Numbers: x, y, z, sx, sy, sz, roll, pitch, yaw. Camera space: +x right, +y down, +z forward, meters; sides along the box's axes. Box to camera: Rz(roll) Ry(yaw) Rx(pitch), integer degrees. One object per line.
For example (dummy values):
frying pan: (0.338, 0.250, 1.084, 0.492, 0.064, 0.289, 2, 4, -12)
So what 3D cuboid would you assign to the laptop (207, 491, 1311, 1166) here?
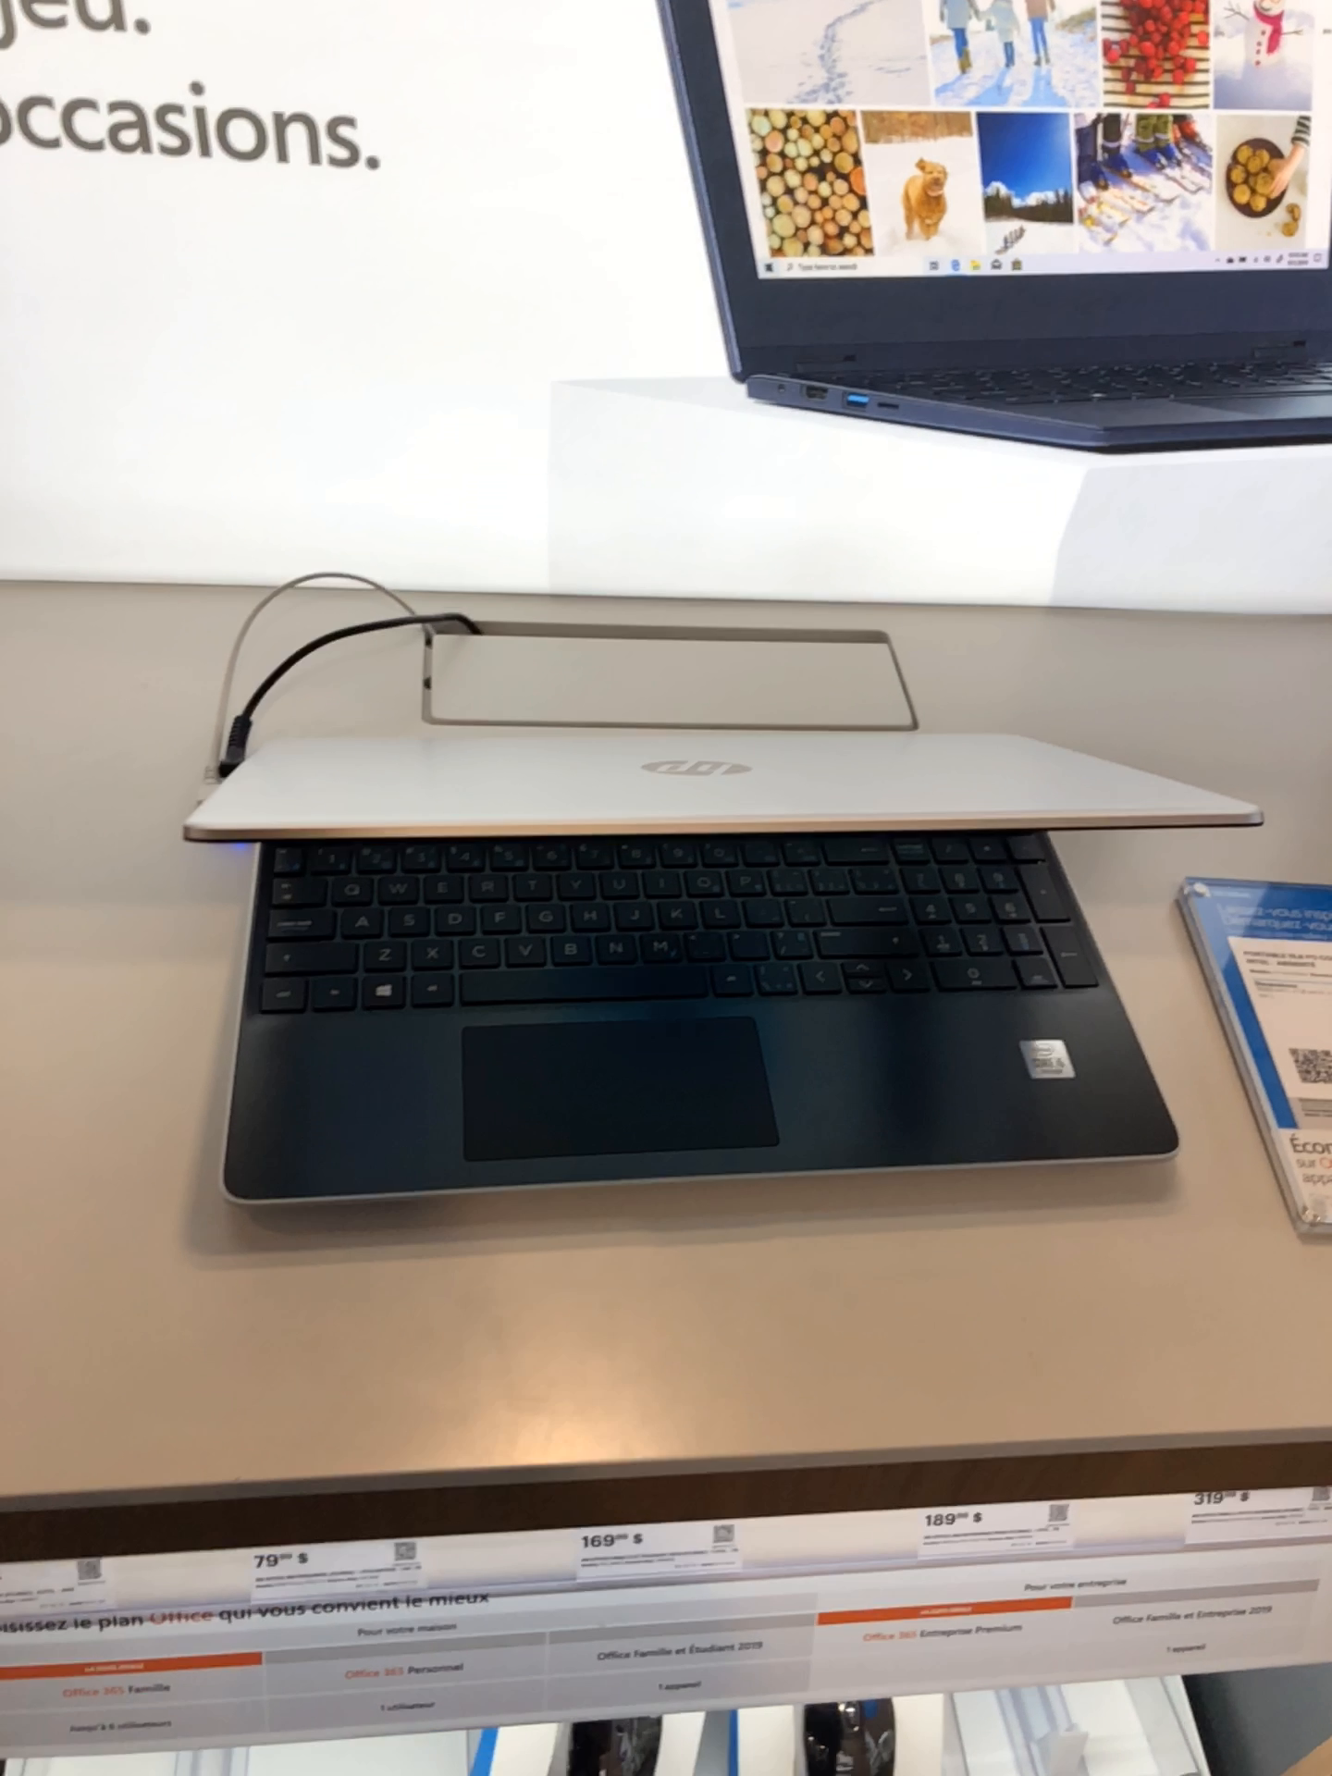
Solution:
laptop: (0.017, -0.034, 0.576, 0.345, 0.131, 0.230, -1, 45, -8)
